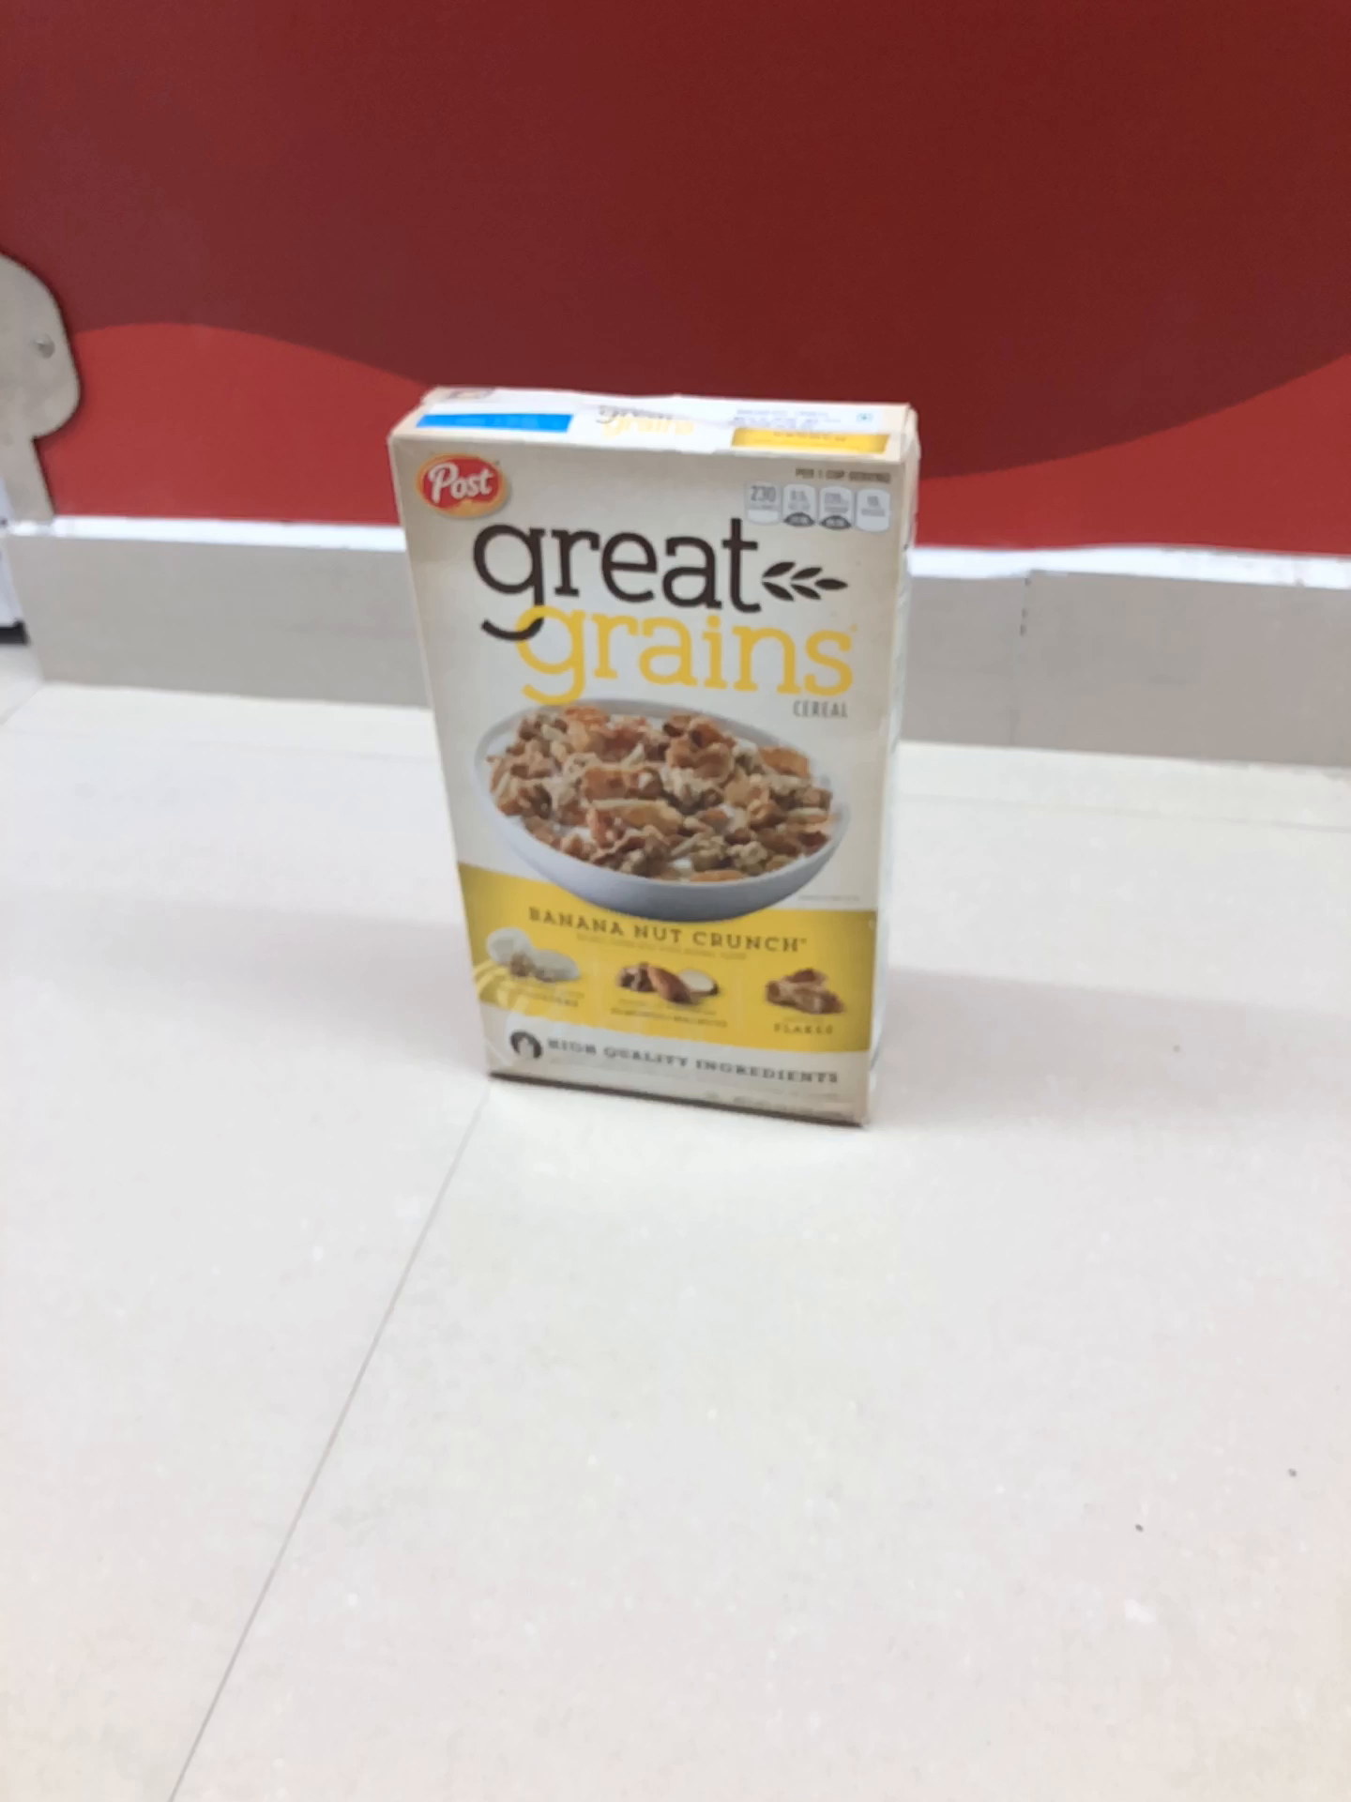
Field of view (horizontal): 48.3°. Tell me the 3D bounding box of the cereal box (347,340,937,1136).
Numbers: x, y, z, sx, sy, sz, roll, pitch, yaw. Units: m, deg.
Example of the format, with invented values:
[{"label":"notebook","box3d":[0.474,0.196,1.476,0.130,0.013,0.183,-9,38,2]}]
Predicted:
[{"label":"cereal box","box3d":[-0.005,-0.045,0.509,0.160,0.258,0.060,6,37,11]}]
